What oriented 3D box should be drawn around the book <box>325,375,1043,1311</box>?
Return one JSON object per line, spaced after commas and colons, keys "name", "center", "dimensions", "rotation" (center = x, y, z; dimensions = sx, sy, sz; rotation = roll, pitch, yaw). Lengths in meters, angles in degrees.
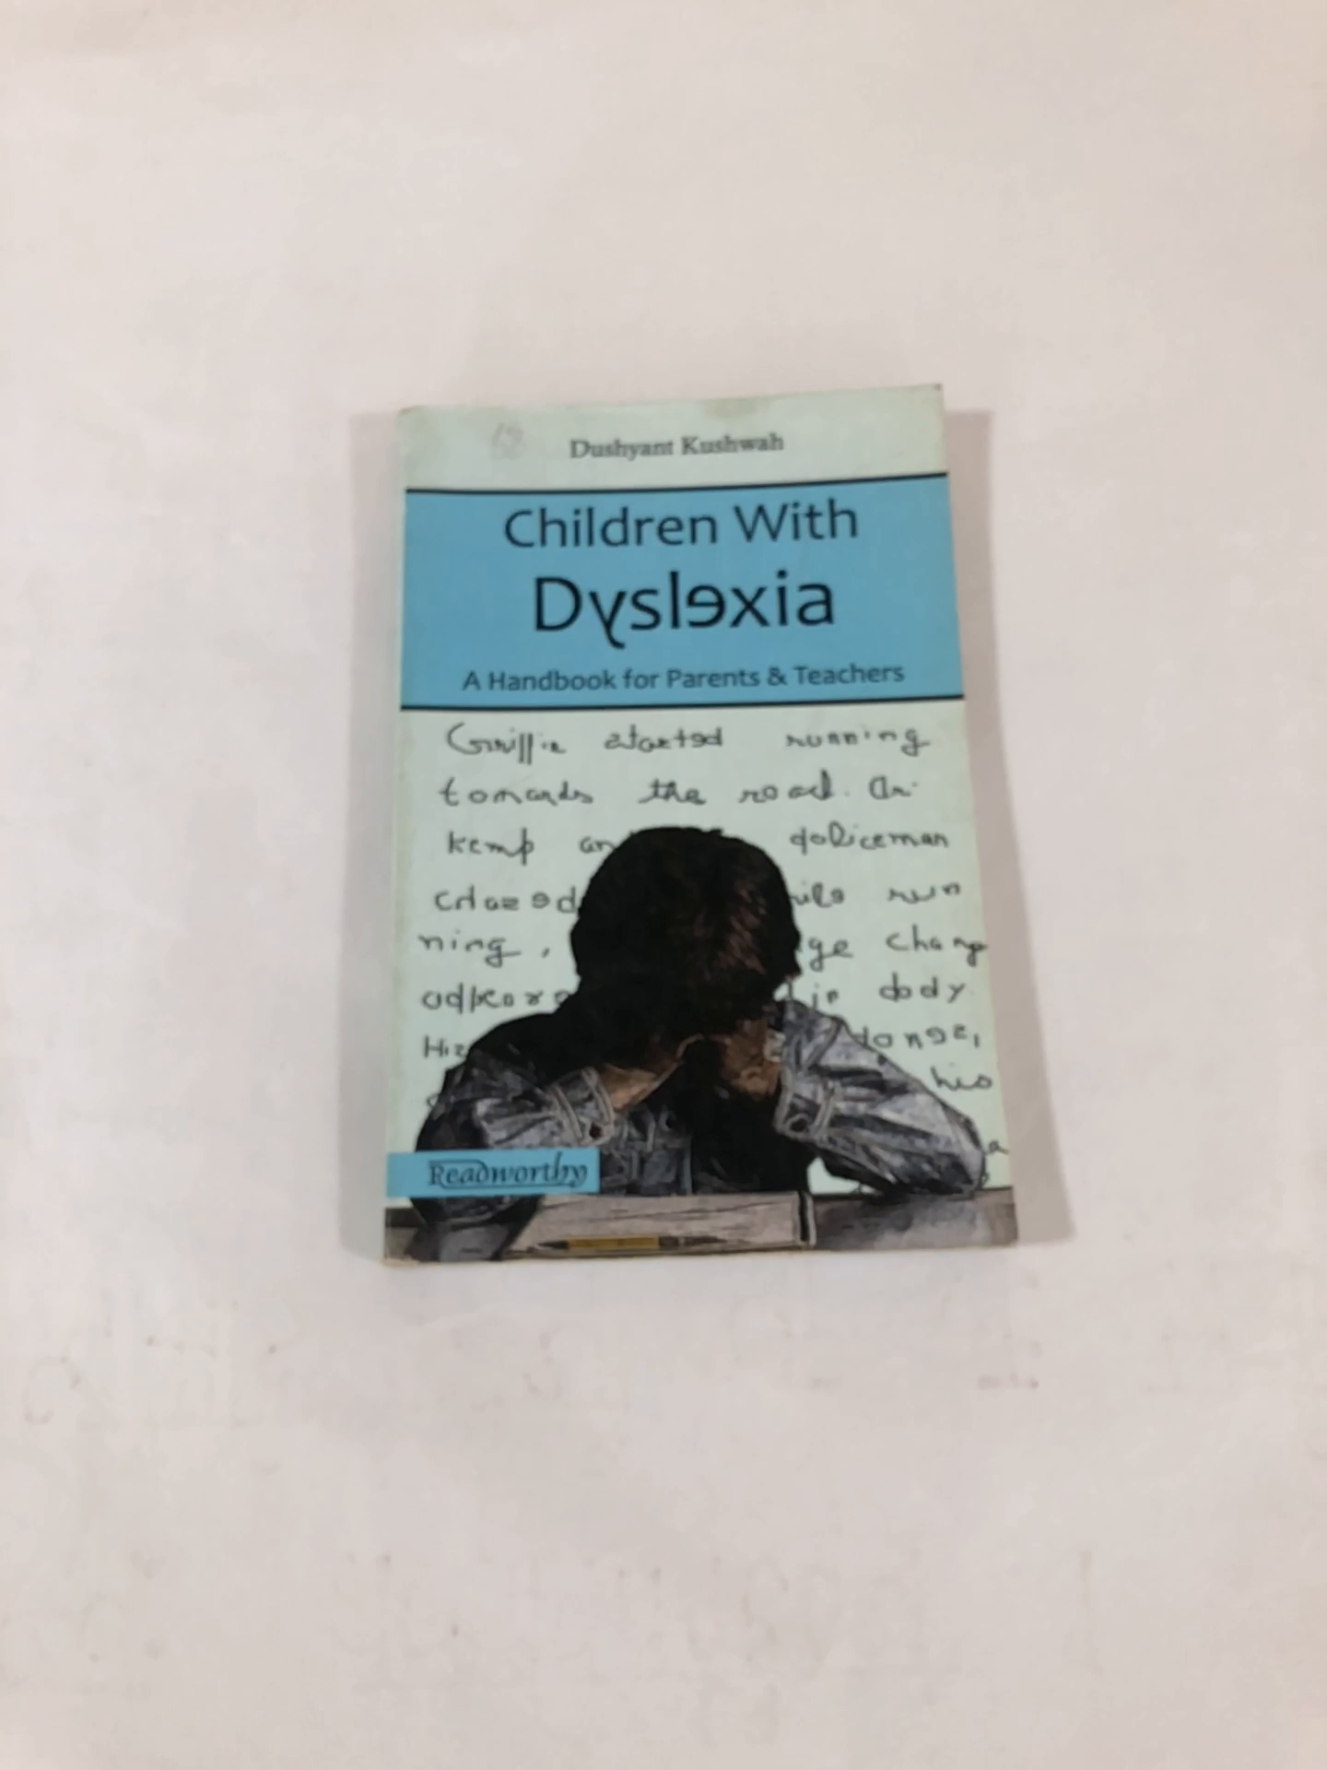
{"name": "book", "center": [0.000, -0.016, 0.357], "dimensions": [0.150, 0.030, 0.220], "rotation": [-2, 74, -1]}
